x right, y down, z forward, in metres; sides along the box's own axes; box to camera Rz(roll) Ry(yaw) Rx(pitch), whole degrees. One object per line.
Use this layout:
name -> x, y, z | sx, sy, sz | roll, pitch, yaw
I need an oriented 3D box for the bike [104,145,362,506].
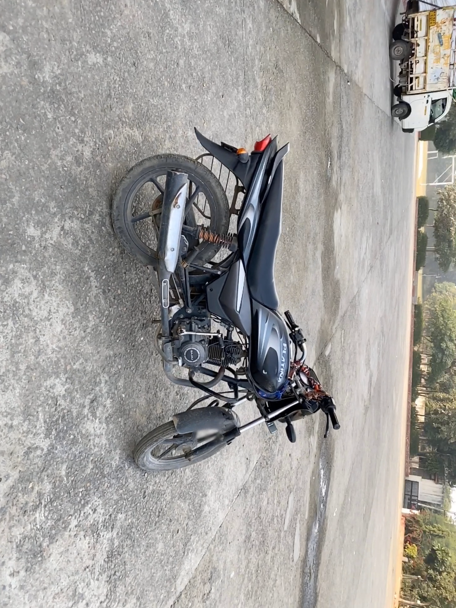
bike -> 0.124, 0.085, 2.610 | 0.775, 1.078, 1.739 | -40, 130, -60
